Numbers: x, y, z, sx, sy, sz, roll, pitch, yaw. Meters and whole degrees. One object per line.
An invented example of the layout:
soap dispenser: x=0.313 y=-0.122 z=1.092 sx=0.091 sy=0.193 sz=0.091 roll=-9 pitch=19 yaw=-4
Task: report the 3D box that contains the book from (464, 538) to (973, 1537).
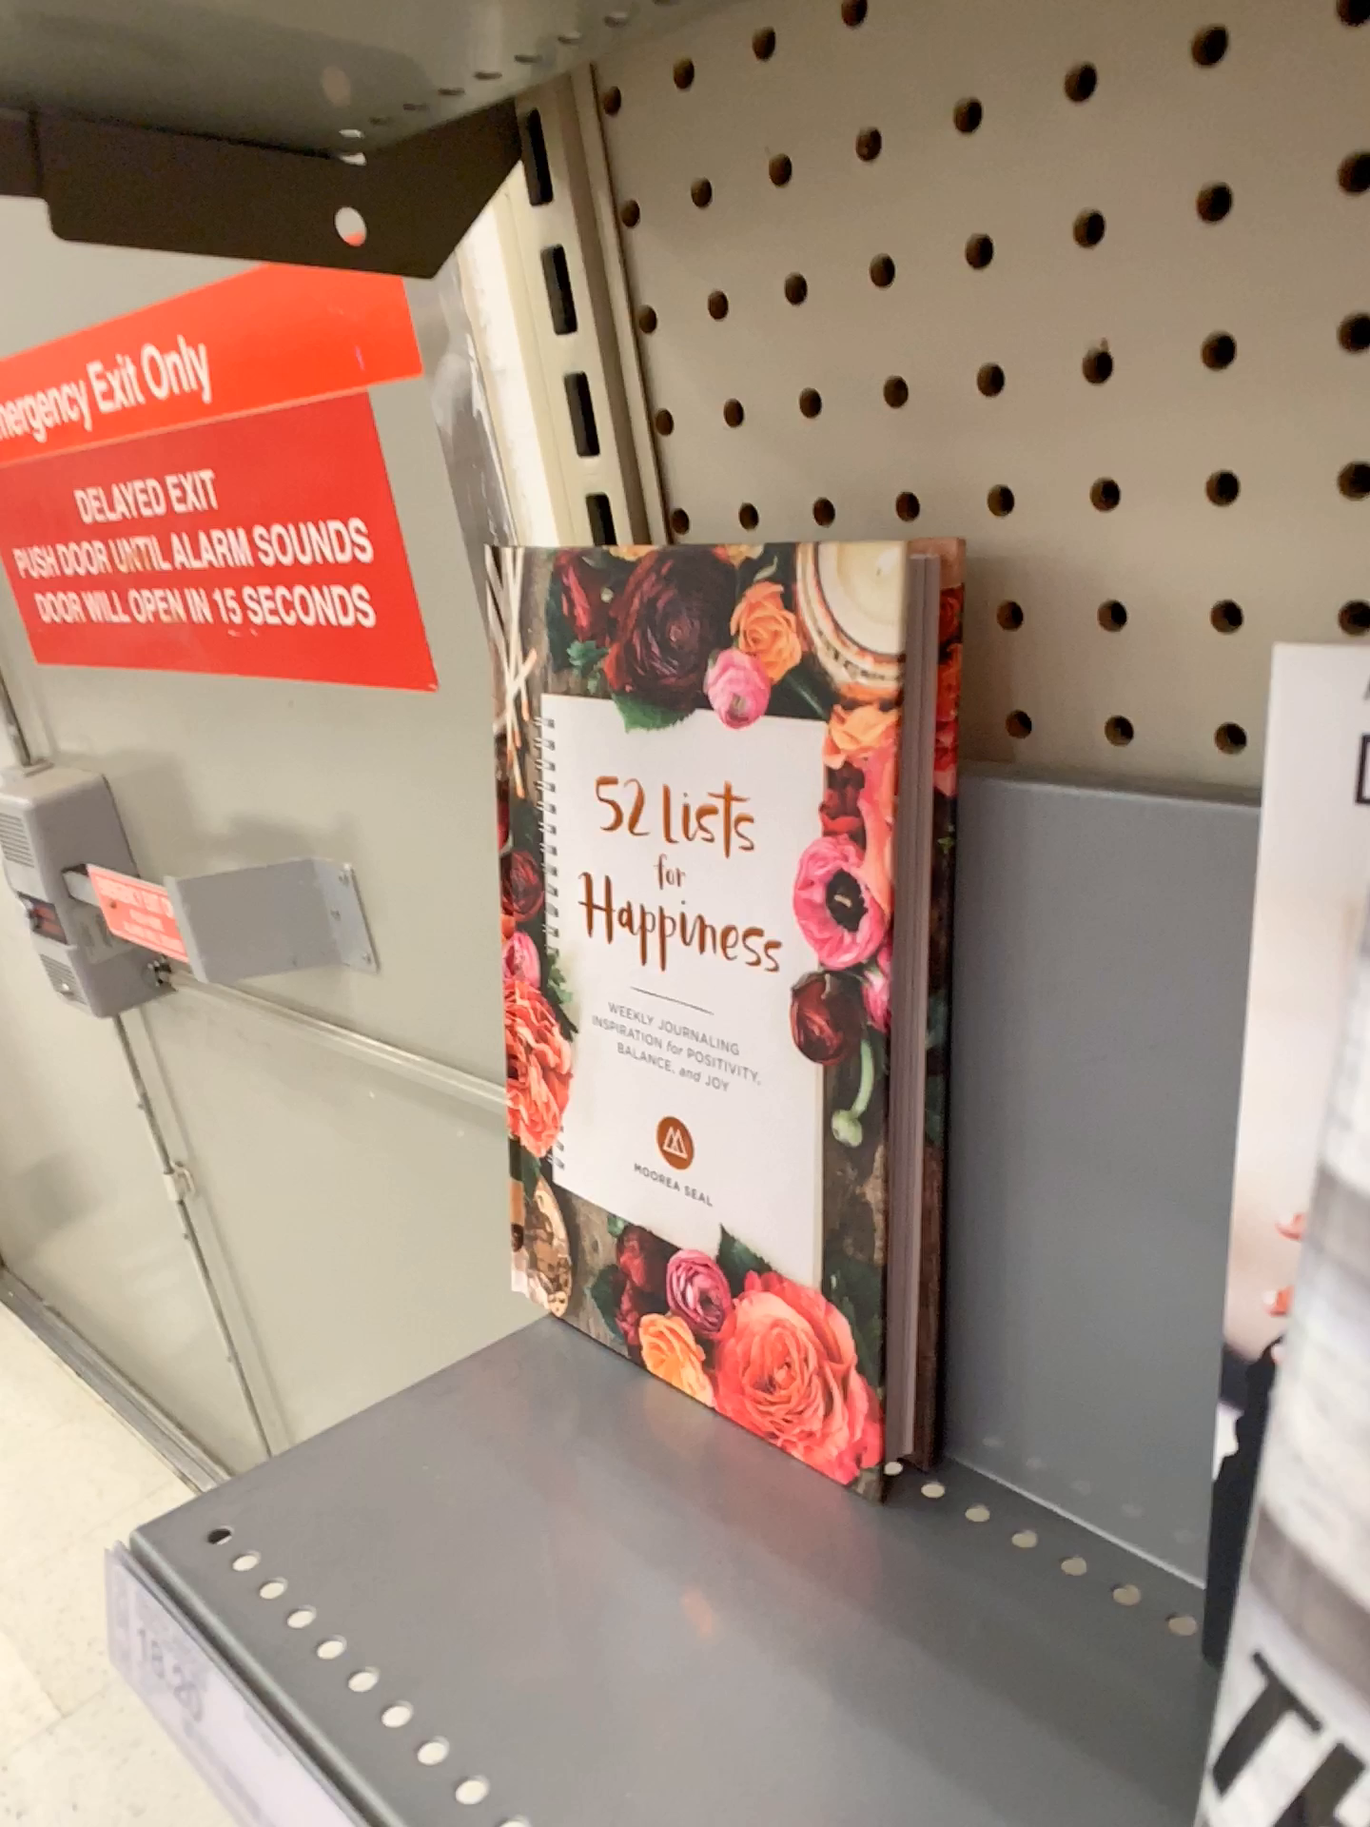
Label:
book: x=0.001 y=0.020 z=0.352 sx=0.020 sy=0.216 sz=0.151 roll=-12 pitch=17 yaw=-41
